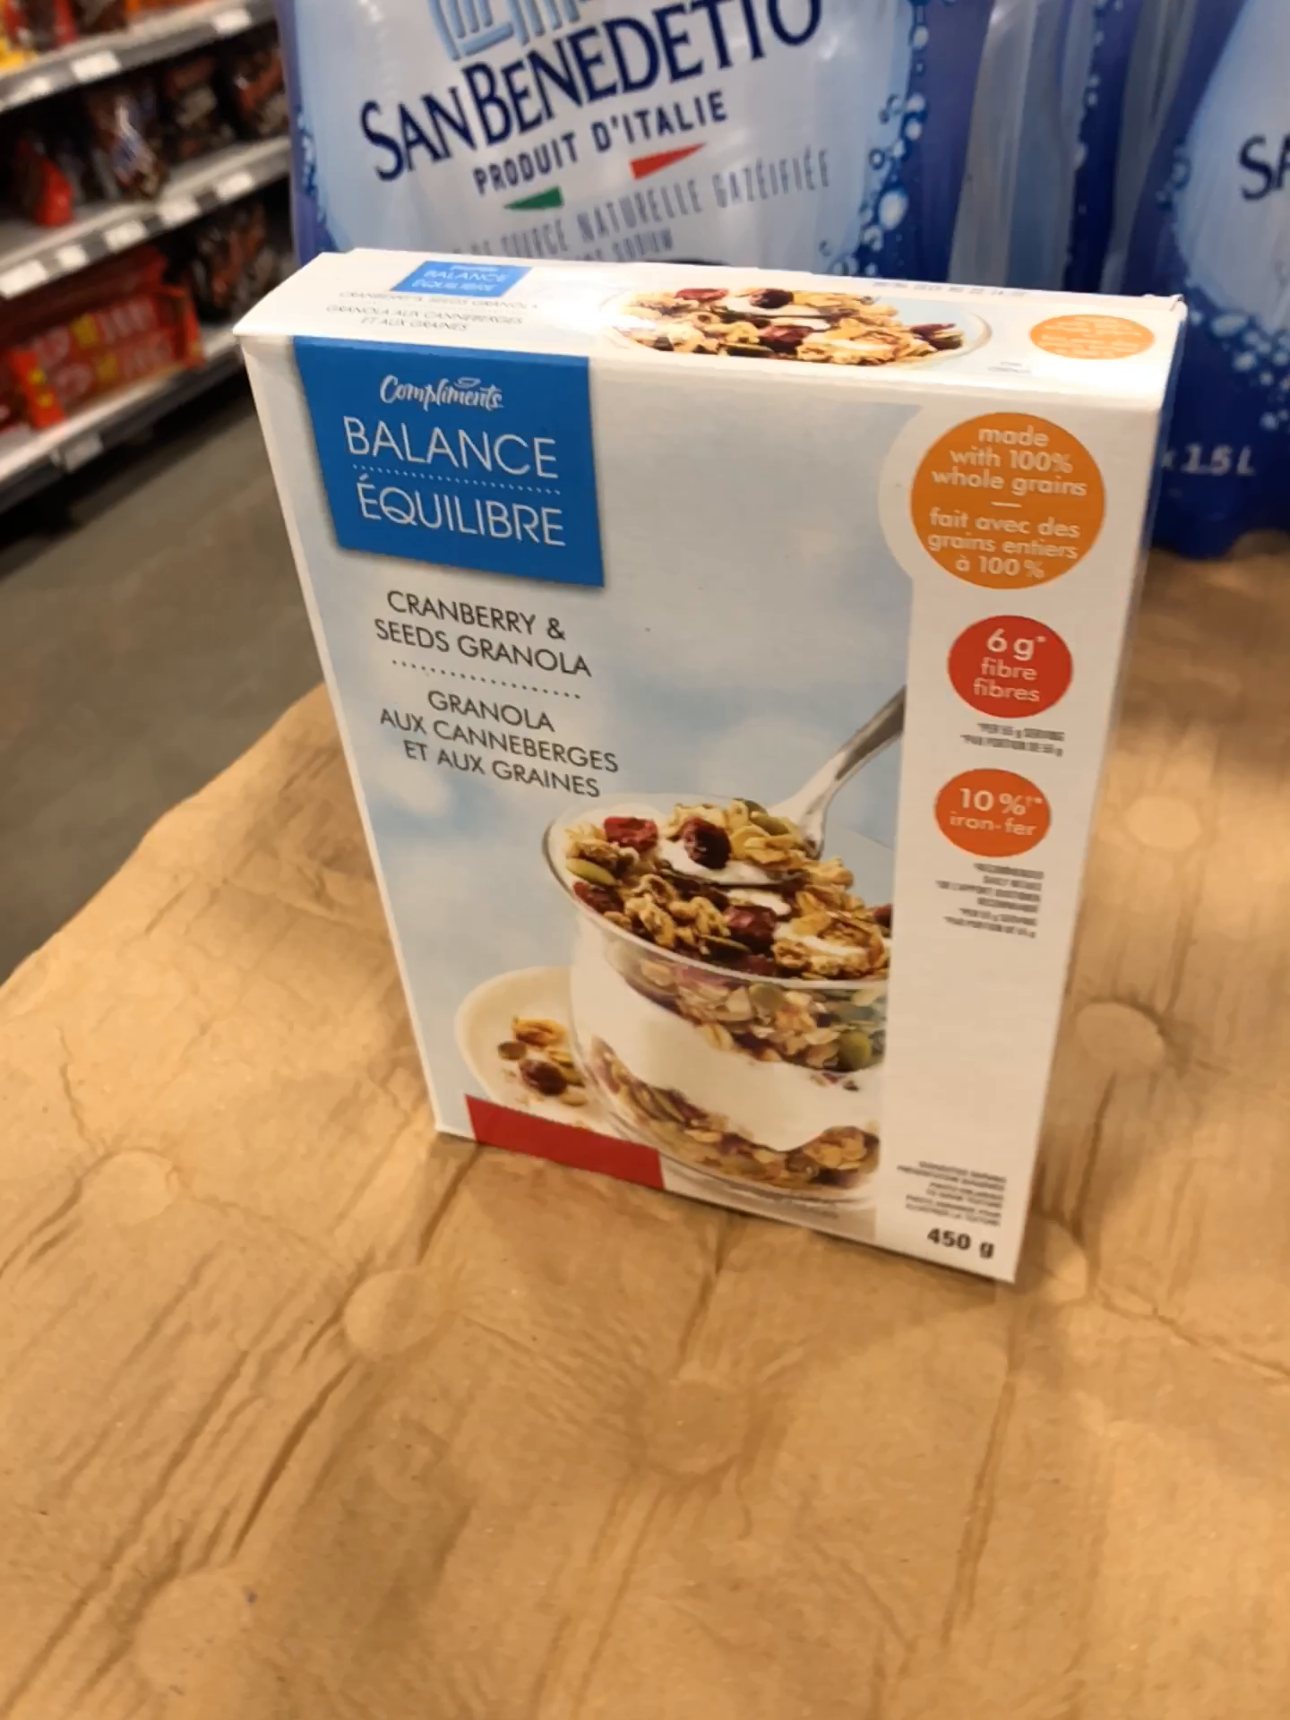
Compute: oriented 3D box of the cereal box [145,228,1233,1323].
[{"bbox_3d":[0.011,-0.009,0.320,0.180,0.229,0.050,11,42,19],"label":"cereal box"}]
